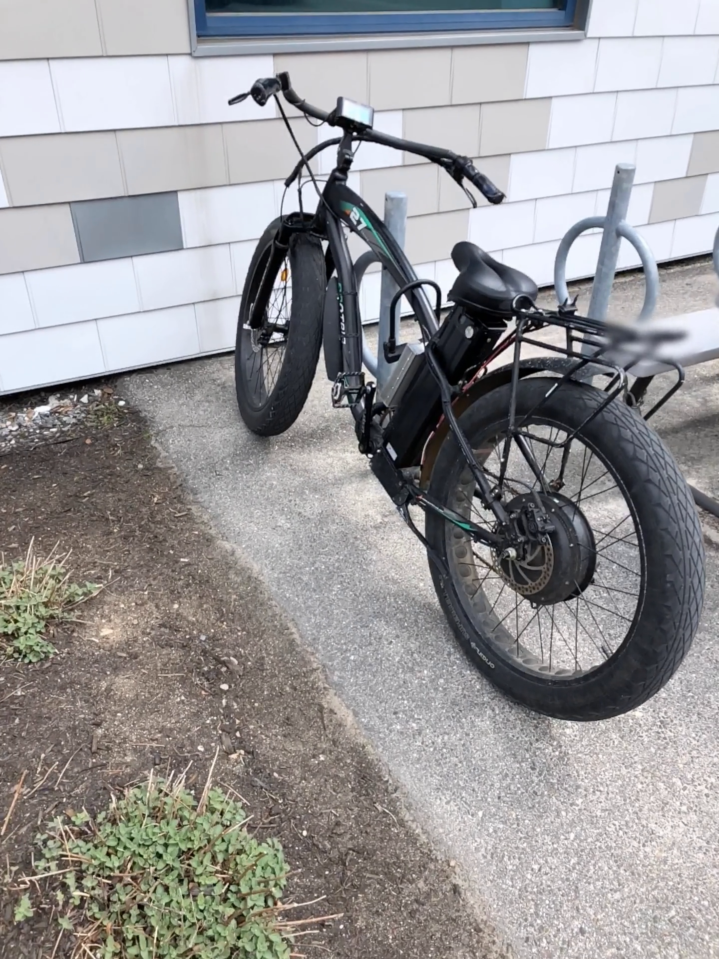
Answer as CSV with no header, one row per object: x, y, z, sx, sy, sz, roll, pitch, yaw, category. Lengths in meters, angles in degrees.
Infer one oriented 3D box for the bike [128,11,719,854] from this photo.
0.210,-0.386,2.006,0.913,1.131,1.867,-17,41,-24,bike
